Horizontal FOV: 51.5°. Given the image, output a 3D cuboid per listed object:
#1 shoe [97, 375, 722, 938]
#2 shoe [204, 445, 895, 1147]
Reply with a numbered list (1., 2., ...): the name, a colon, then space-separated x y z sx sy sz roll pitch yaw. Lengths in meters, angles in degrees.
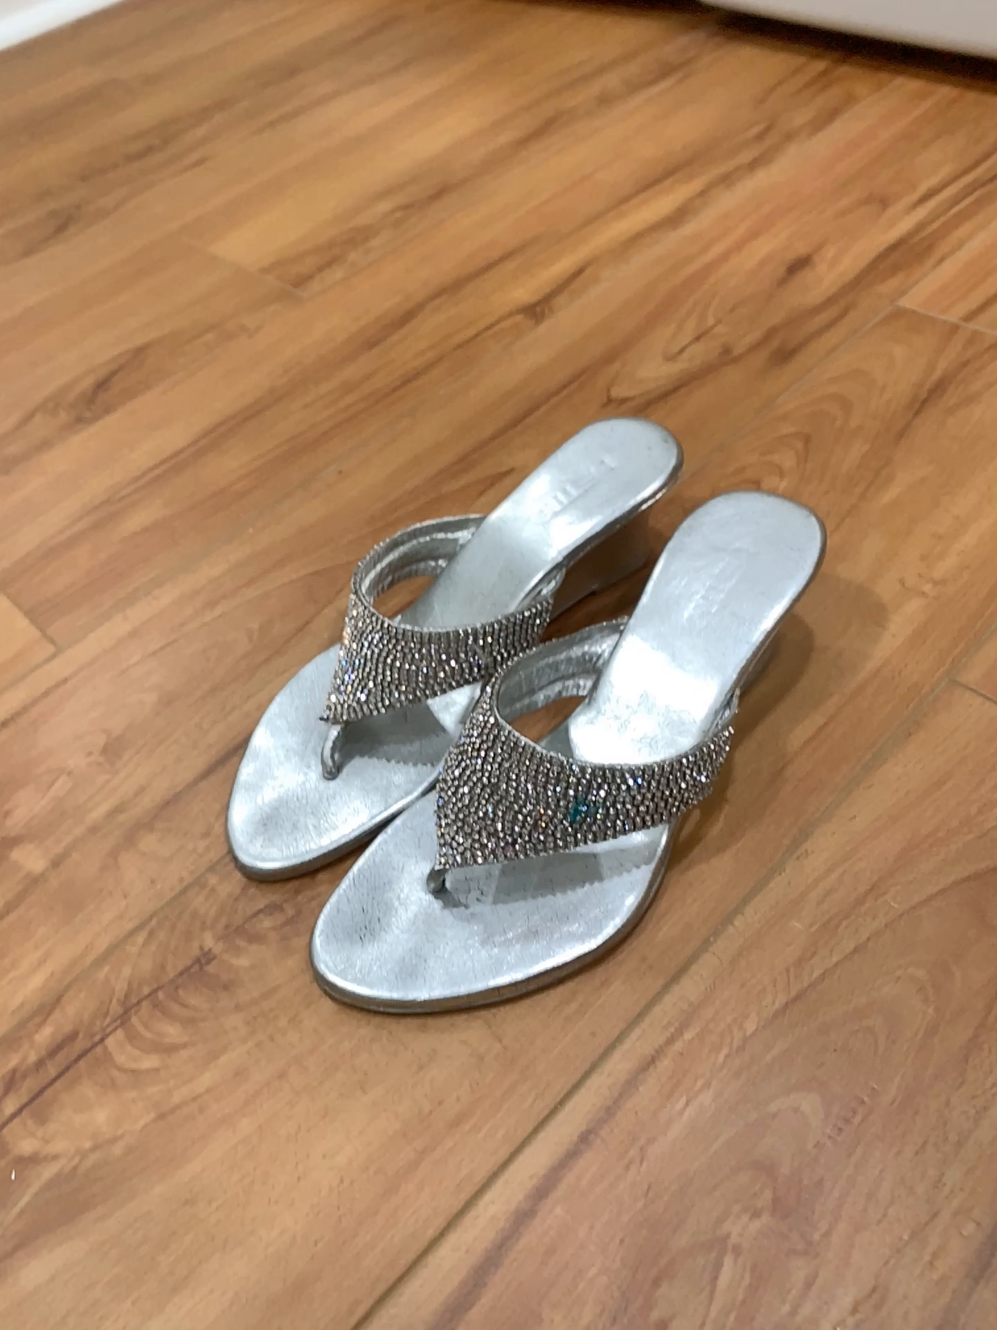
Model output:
1. shoe: -0.022 -0.014 0.403 0.228 0.073 0.085 -38 52 -21
2. shoe: 0.029 0.029 0.356 0.095 0.073 0.228 31 61 33
